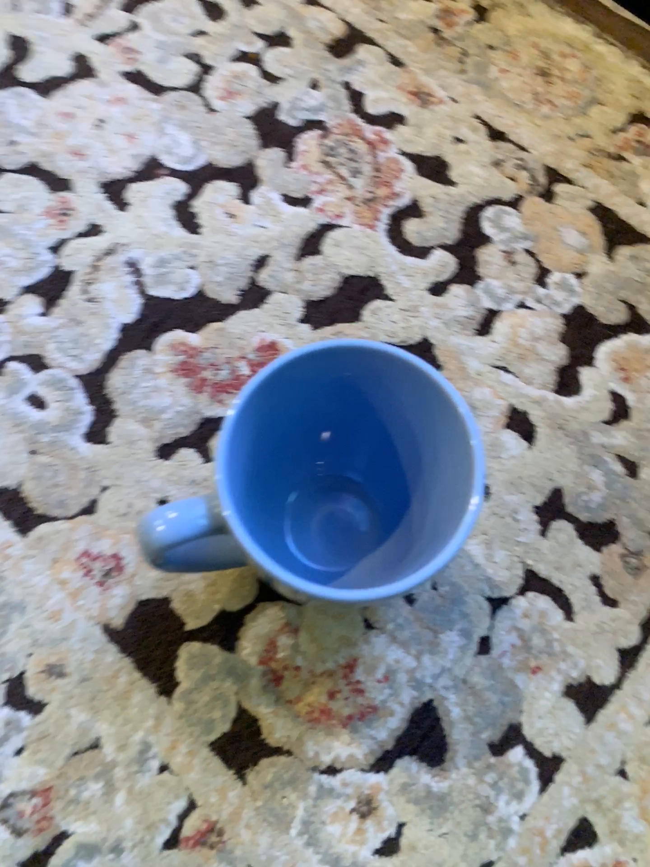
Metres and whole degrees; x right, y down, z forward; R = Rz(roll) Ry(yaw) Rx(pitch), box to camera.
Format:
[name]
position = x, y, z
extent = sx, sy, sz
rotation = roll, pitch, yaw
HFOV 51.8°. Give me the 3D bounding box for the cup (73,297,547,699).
[cup]
position = -0.009, 0.028, 0.245
extent = 0.120, 0.089, 0.090
rotation = -19, 71, -11
